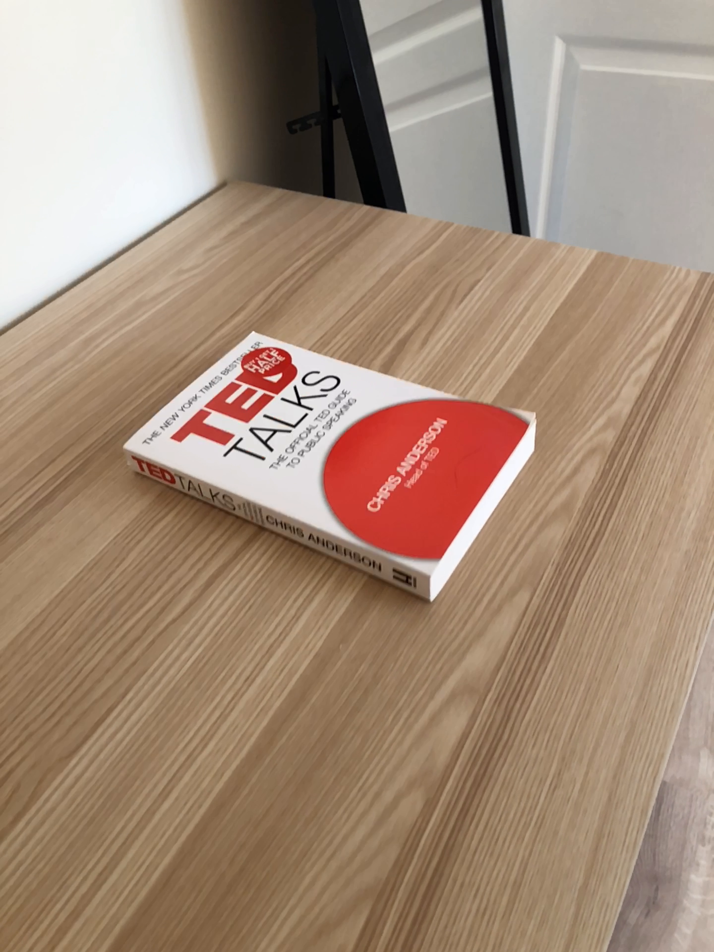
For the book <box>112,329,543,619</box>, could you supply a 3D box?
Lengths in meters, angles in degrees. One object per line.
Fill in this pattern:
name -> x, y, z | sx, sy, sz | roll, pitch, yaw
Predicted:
book -> -0.018, -0.015, 0.482 | 0.220, 0.030, 0.139 | 21, 49, 25
